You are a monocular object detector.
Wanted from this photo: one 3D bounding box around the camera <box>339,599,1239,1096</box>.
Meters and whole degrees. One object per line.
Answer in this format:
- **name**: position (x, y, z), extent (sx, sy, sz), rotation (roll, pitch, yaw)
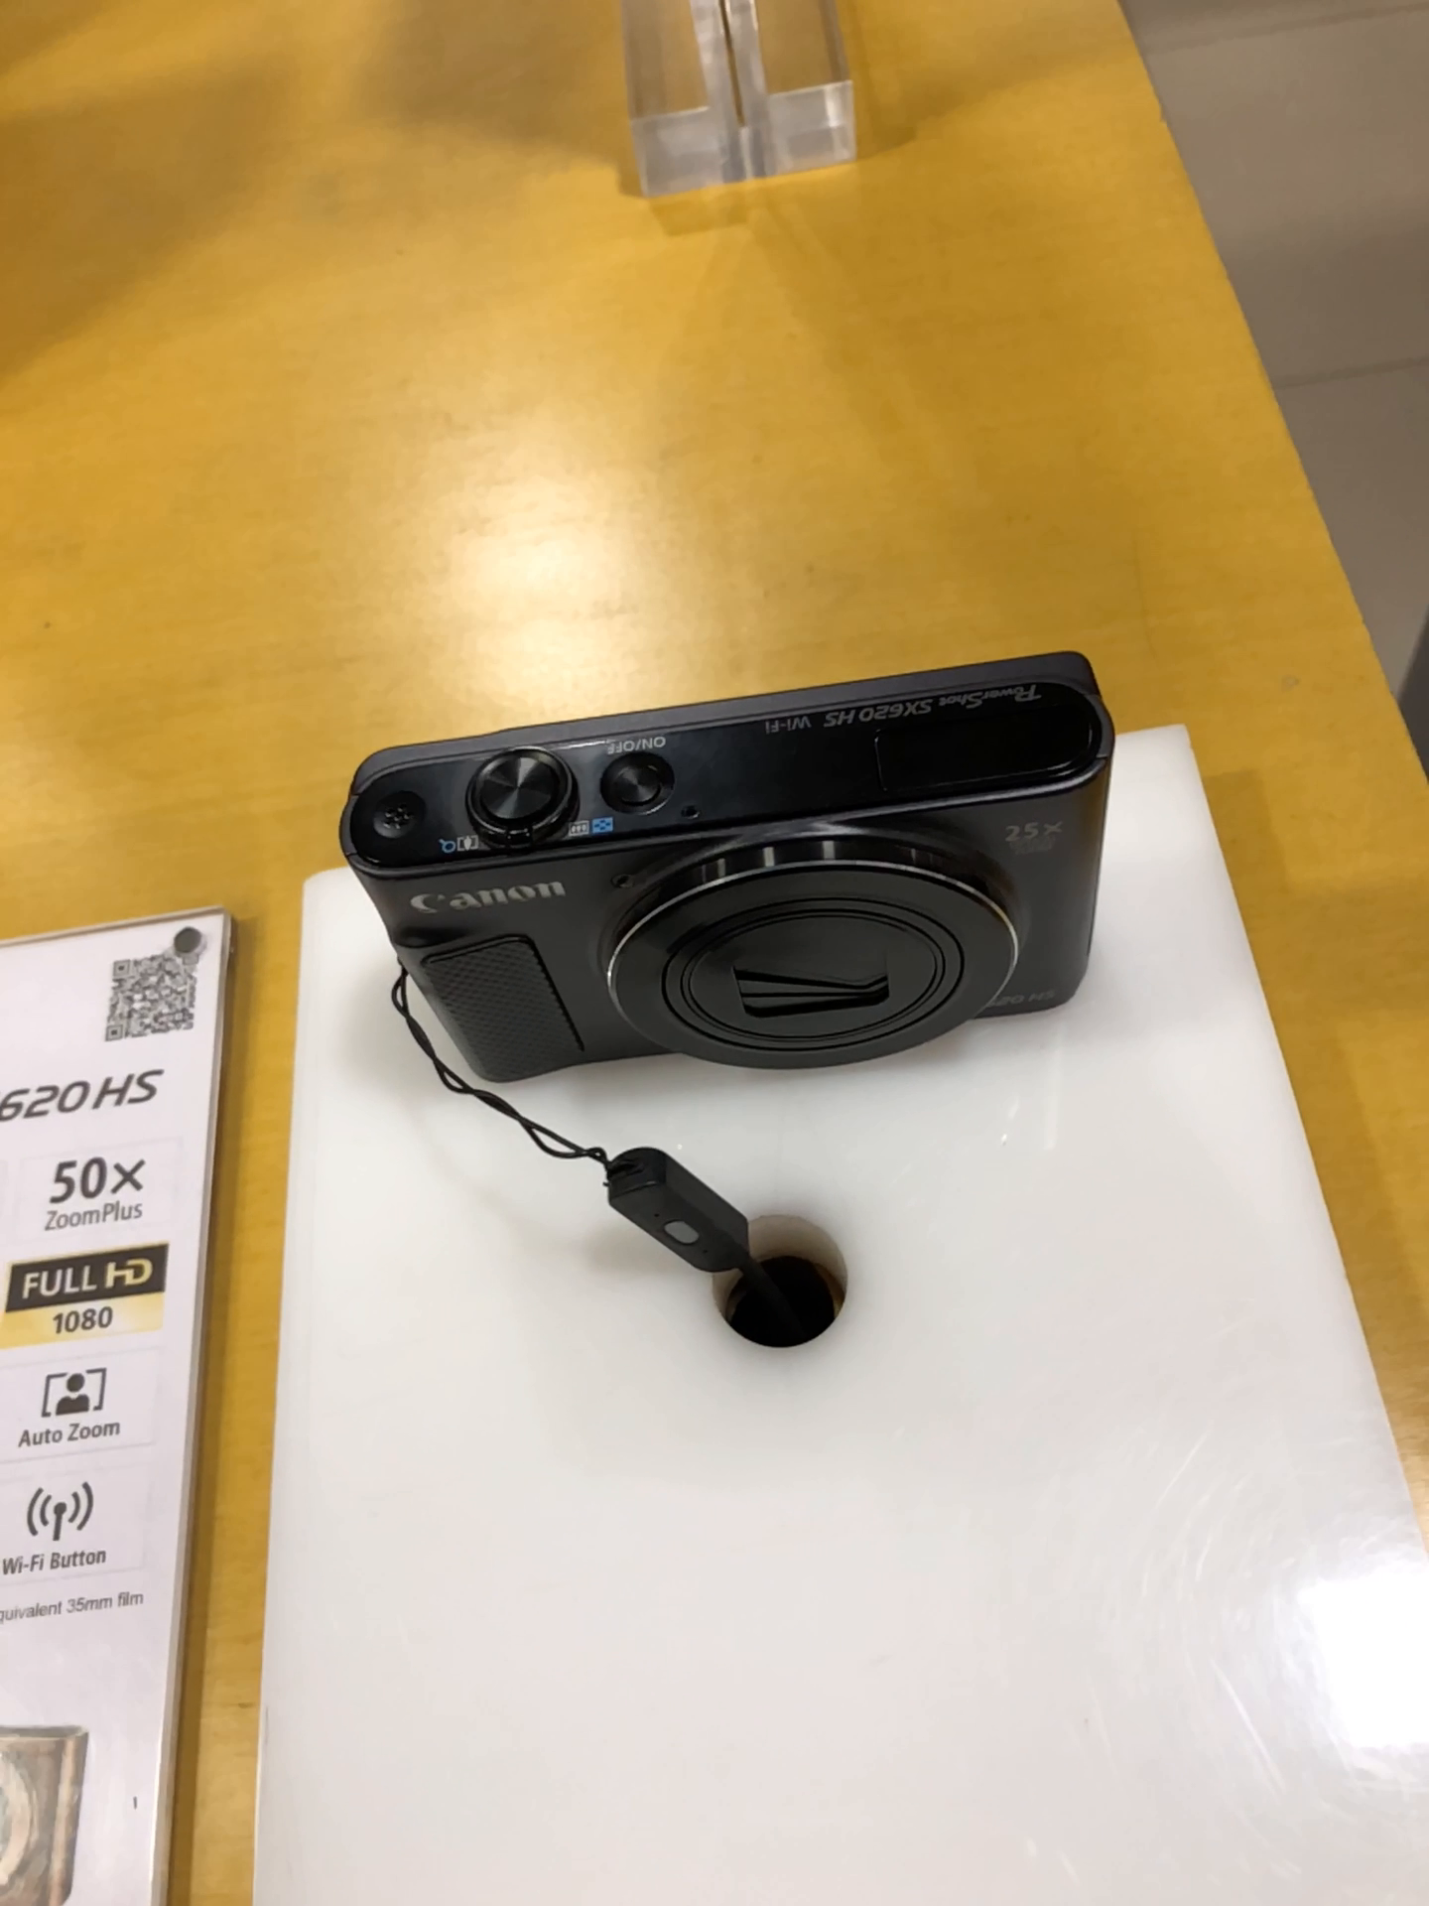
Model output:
- **camera**: position (0.011, -0.011, 0.227), extent (0.110, 0.060, 0.030), rotation (-6, 60, 5)
